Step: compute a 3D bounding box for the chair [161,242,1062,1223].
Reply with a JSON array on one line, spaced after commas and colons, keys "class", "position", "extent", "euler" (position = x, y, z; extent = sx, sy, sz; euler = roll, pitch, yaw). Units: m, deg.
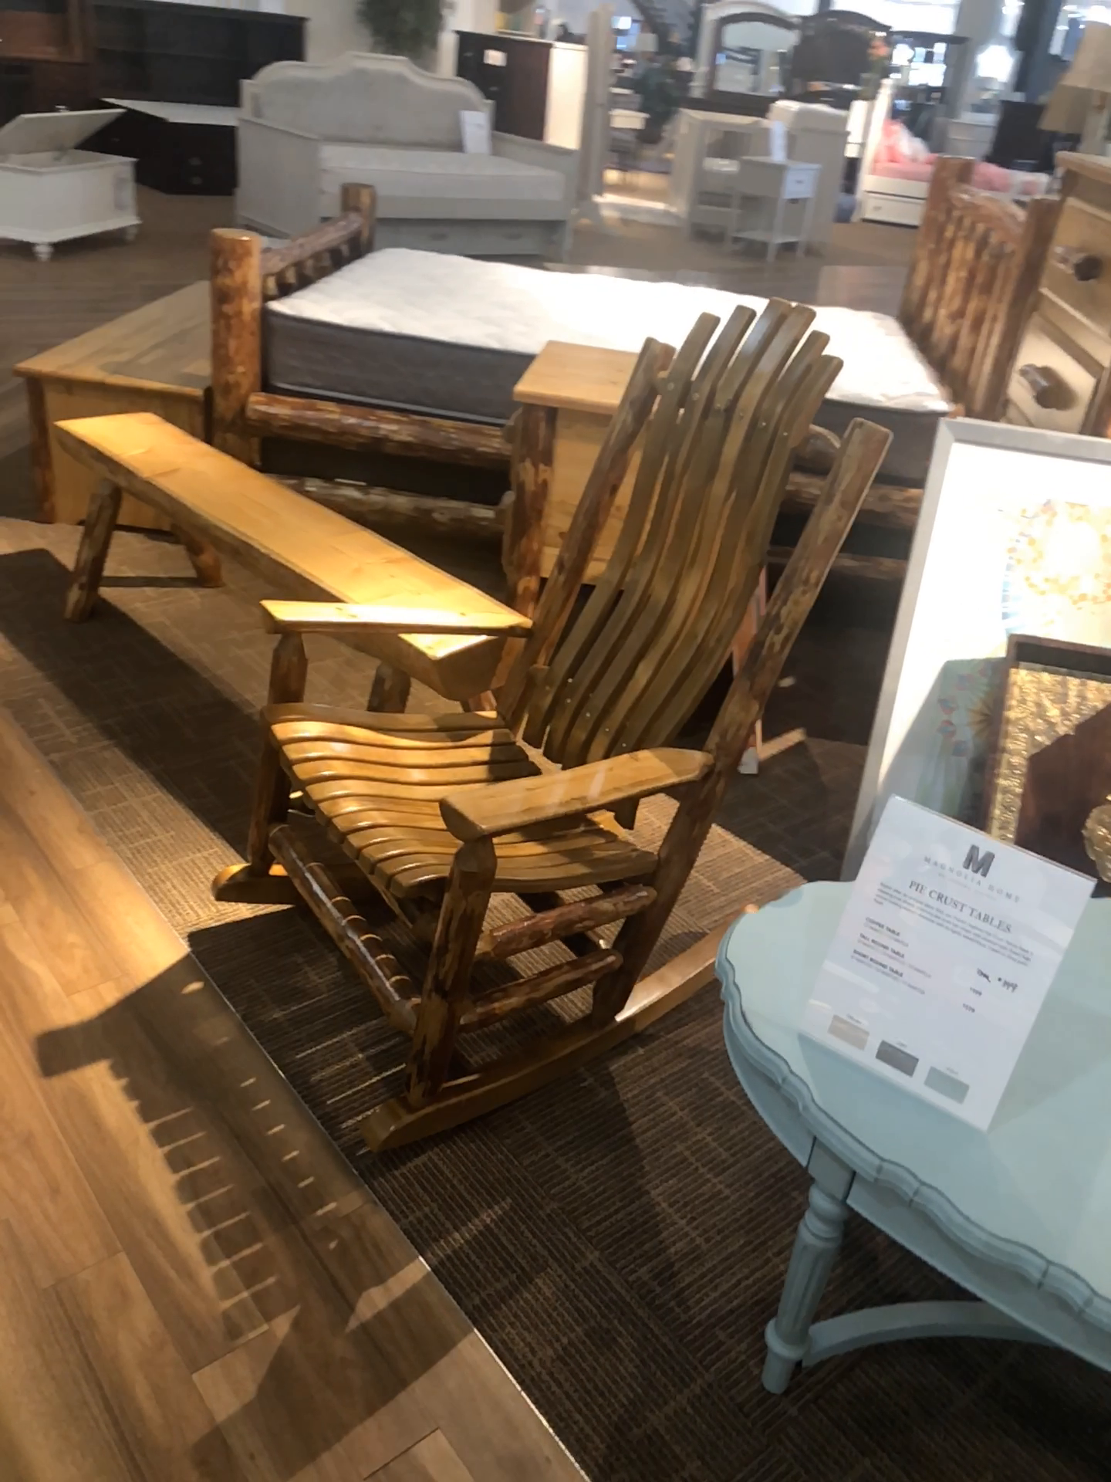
[{"class": "chair", "position": [0.004, -0.093, 1.781], "extent": [0.886, 1.048, 0.719], "euler": [-13, 35, -31]}]
